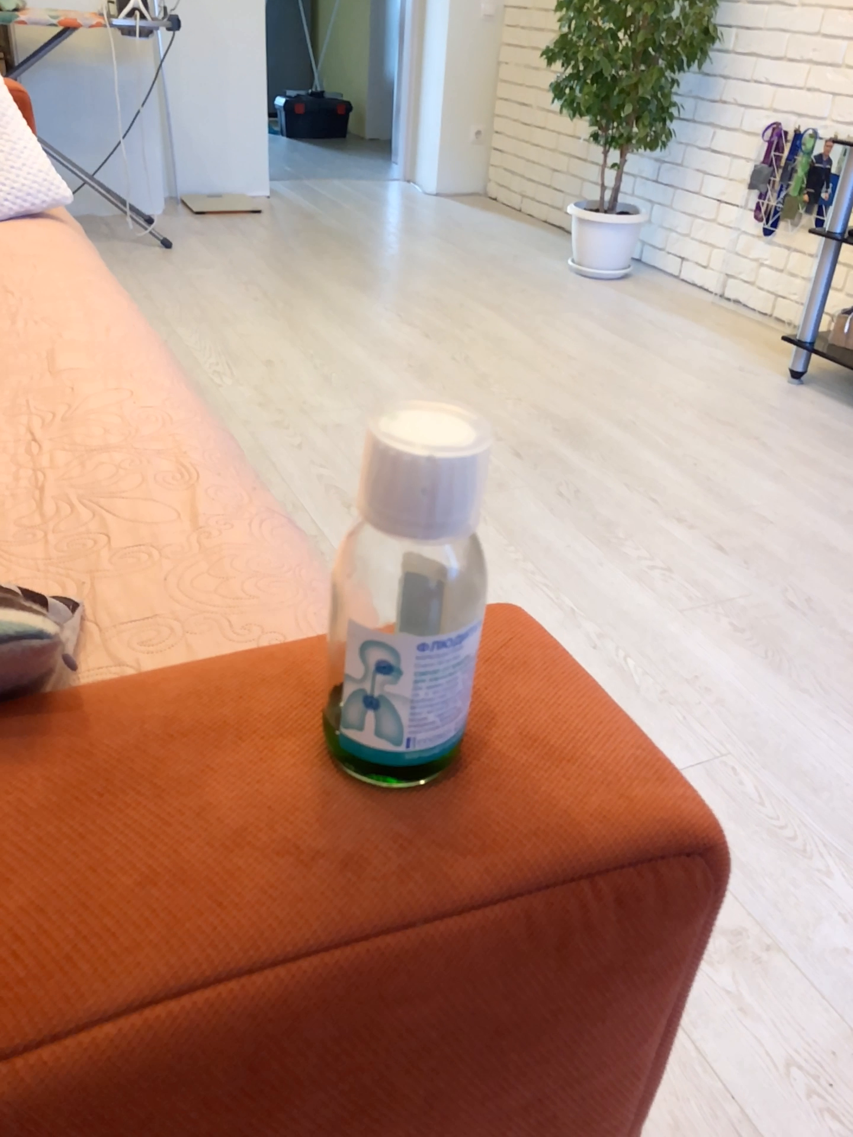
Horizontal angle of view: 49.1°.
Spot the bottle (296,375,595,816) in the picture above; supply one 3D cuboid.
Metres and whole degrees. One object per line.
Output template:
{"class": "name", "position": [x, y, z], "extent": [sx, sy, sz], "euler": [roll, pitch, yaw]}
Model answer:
{"class": "bottle", "position": [0.000, 0.006, 0.281], "extent": [0.060, 0.106, 0.060], "euler": [3, 31, -2]}
